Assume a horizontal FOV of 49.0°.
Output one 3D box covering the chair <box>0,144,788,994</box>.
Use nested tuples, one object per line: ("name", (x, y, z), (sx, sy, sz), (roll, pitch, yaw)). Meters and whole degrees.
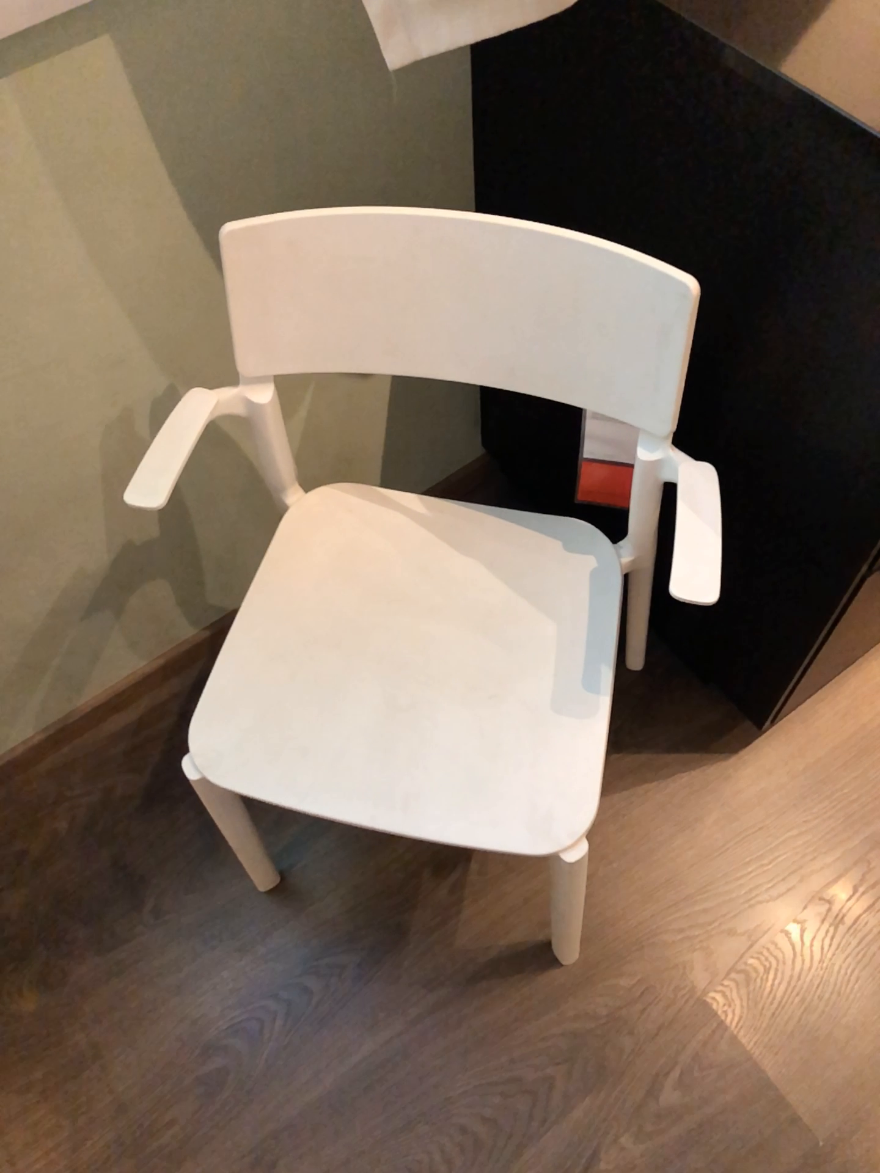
("chair", (0.002, 0.039, 1.108), (0.560, 0.757, 0.582), (10, 61, 10))
